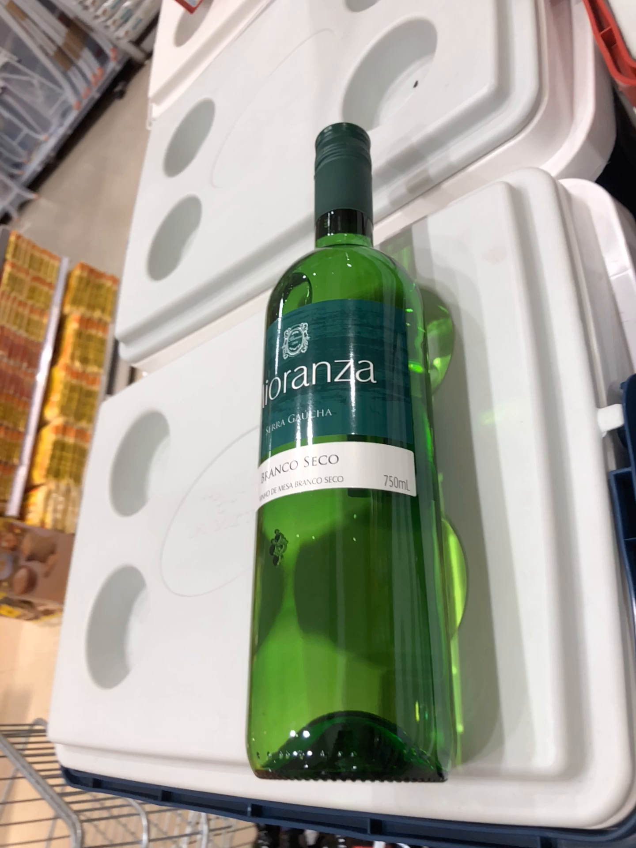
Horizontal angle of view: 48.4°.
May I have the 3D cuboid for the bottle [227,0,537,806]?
[{"bbox_3d":[0.026,-0.032,0.324,0.080,0.070,0.361,-24,54,41],"label":"bottle"}]
